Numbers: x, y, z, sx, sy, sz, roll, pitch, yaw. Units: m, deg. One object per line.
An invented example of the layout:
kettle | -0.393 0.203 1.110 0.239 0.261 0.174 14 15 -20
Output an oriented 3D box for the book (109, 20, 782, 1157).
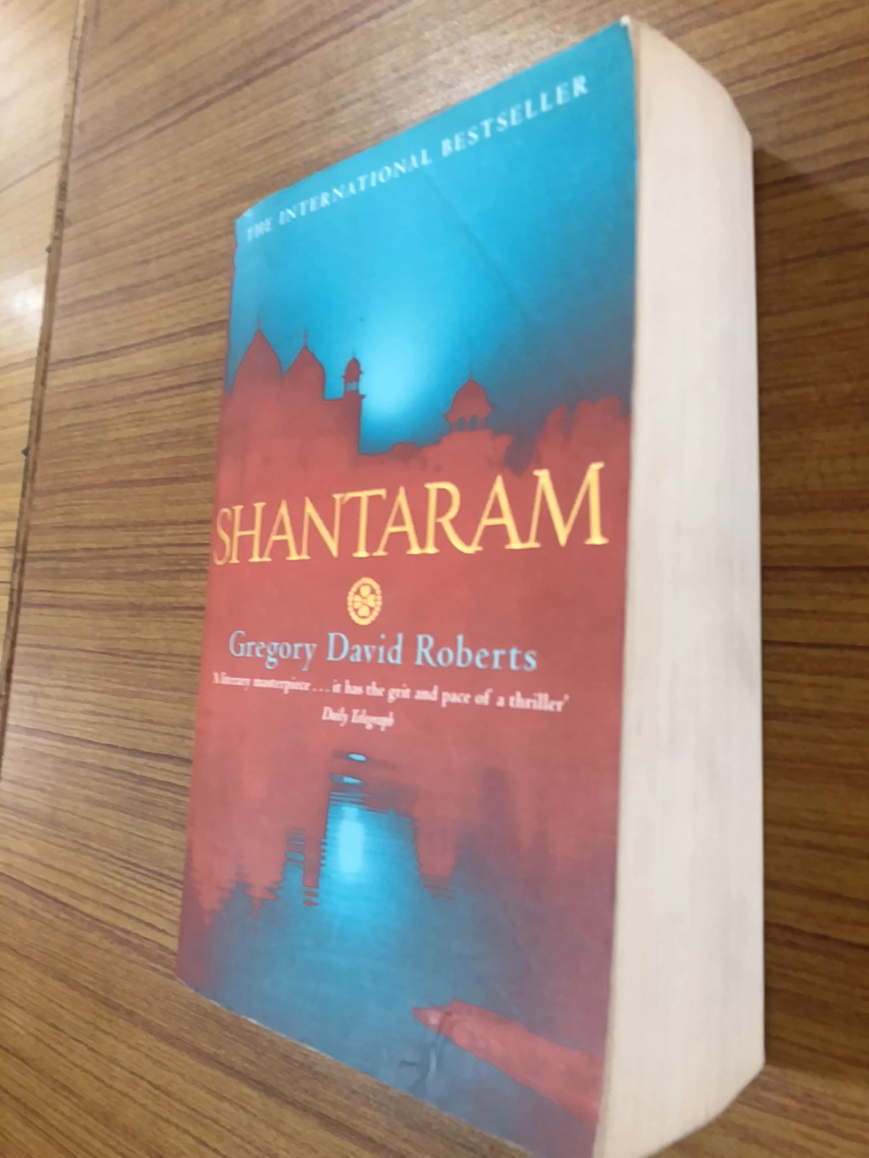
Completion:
book | -0.005 0.006 0.221 0.151 0.050 0.190 -3 82 41
